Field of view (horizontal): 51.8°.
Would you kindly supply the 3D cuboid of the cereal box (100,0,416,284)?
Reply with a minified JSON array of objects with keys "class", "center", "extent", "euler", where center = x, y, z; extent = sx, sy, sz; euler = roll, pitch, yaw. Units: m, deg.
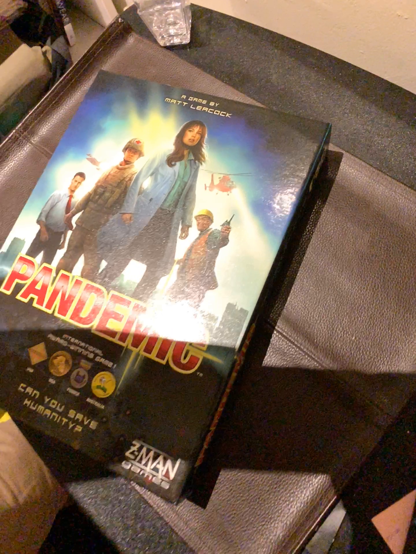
[{"class":"cereal box","center":[0.144,-0.396,1.195],"extent":[0.471,0.998,0.511],"euler":[-9,72,10]}]
